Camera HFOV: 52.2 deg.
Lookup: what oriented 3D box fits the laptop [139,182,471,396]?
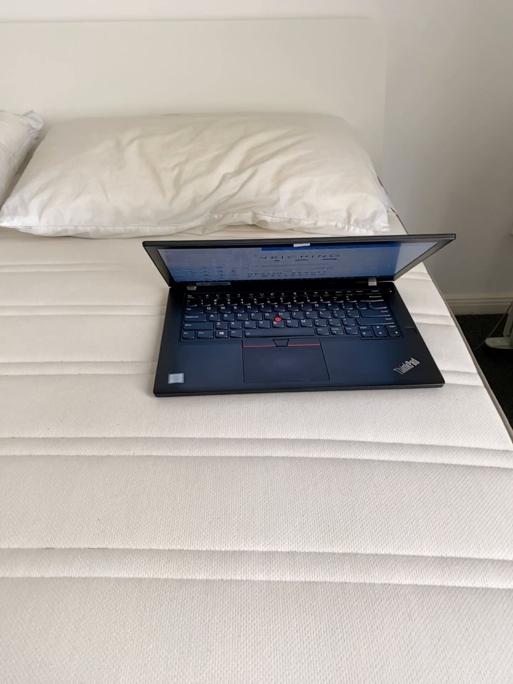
[{"bbox_3d":[0.044,-0.075,0.638,0.324,0.150,0.221,-2,37,-3],"label":"laptop"}]
